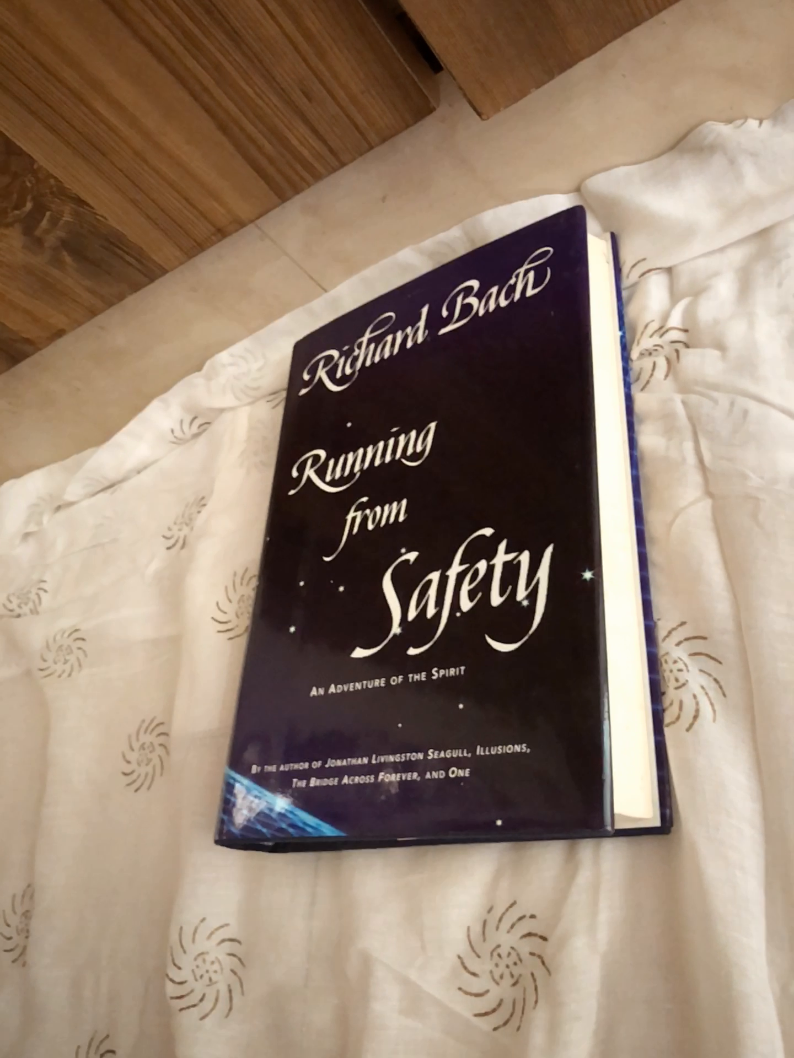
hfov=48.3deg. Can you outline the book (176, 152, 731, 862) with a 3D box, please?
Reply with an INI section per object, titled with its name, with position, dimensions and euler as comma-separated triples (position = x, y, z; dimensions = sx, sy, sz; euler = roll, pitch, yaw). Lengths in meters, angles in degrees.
[book]
position = 0.016, -0.012, 0.335
dimensions = 0.171, 0.040, 0.250
euler = -14, 55, 28
